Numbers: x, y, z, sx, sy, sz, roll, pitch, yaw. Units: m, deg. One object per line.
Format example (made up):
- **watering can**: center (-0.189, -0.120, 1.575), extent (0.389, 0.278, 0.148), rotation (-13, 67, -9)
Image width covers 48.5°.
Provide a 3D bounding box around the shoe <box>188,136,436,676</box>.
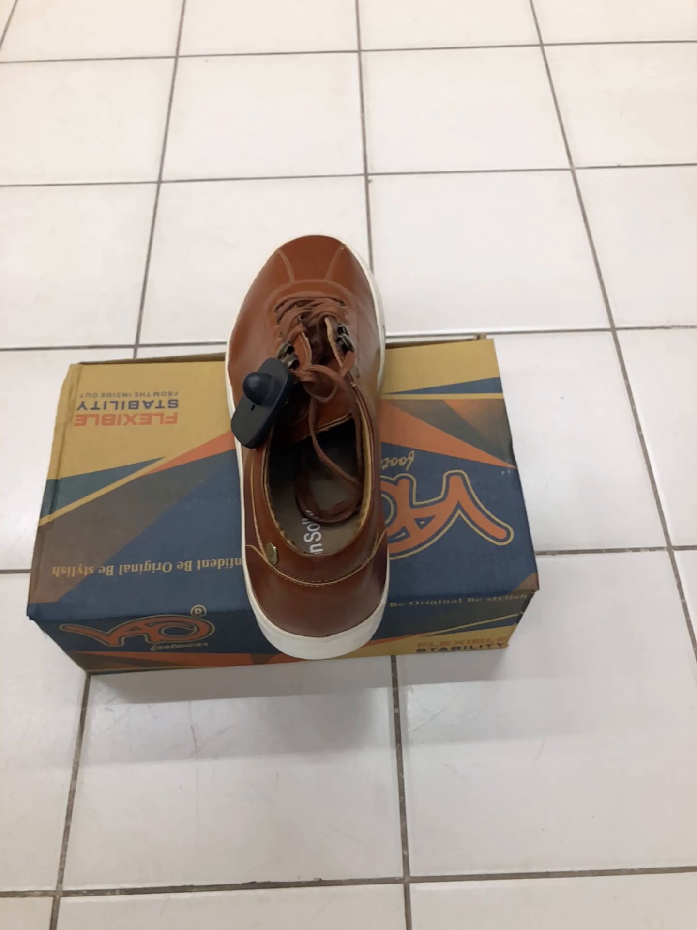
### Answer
- **shoe**: center (-0.022, -0.041, 0.429), extent (0.100, 0.110, 0.281), rotation (-3, 60, -1)
